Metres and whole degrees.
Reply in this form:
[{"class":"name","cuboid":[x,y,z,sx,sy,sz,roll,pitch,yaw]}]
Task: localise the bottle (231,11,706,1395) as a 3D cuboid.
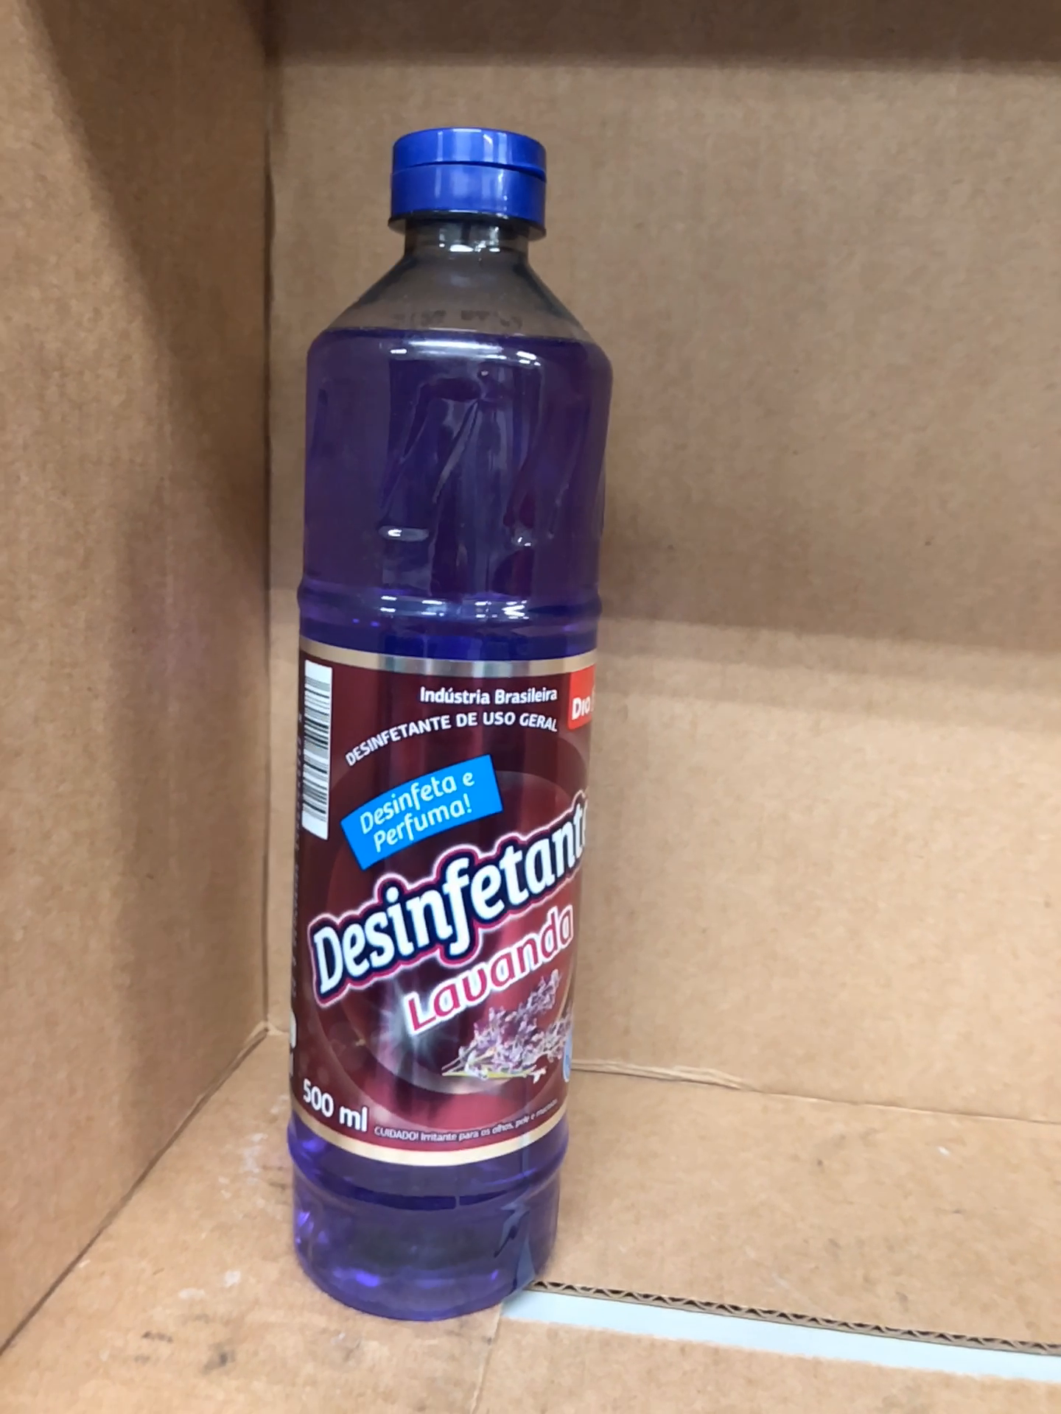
[{"class":"bottle","cuboid":[-0.021,0.004,0.245,0.070,0.239,0.070,2,12,-1]}]
